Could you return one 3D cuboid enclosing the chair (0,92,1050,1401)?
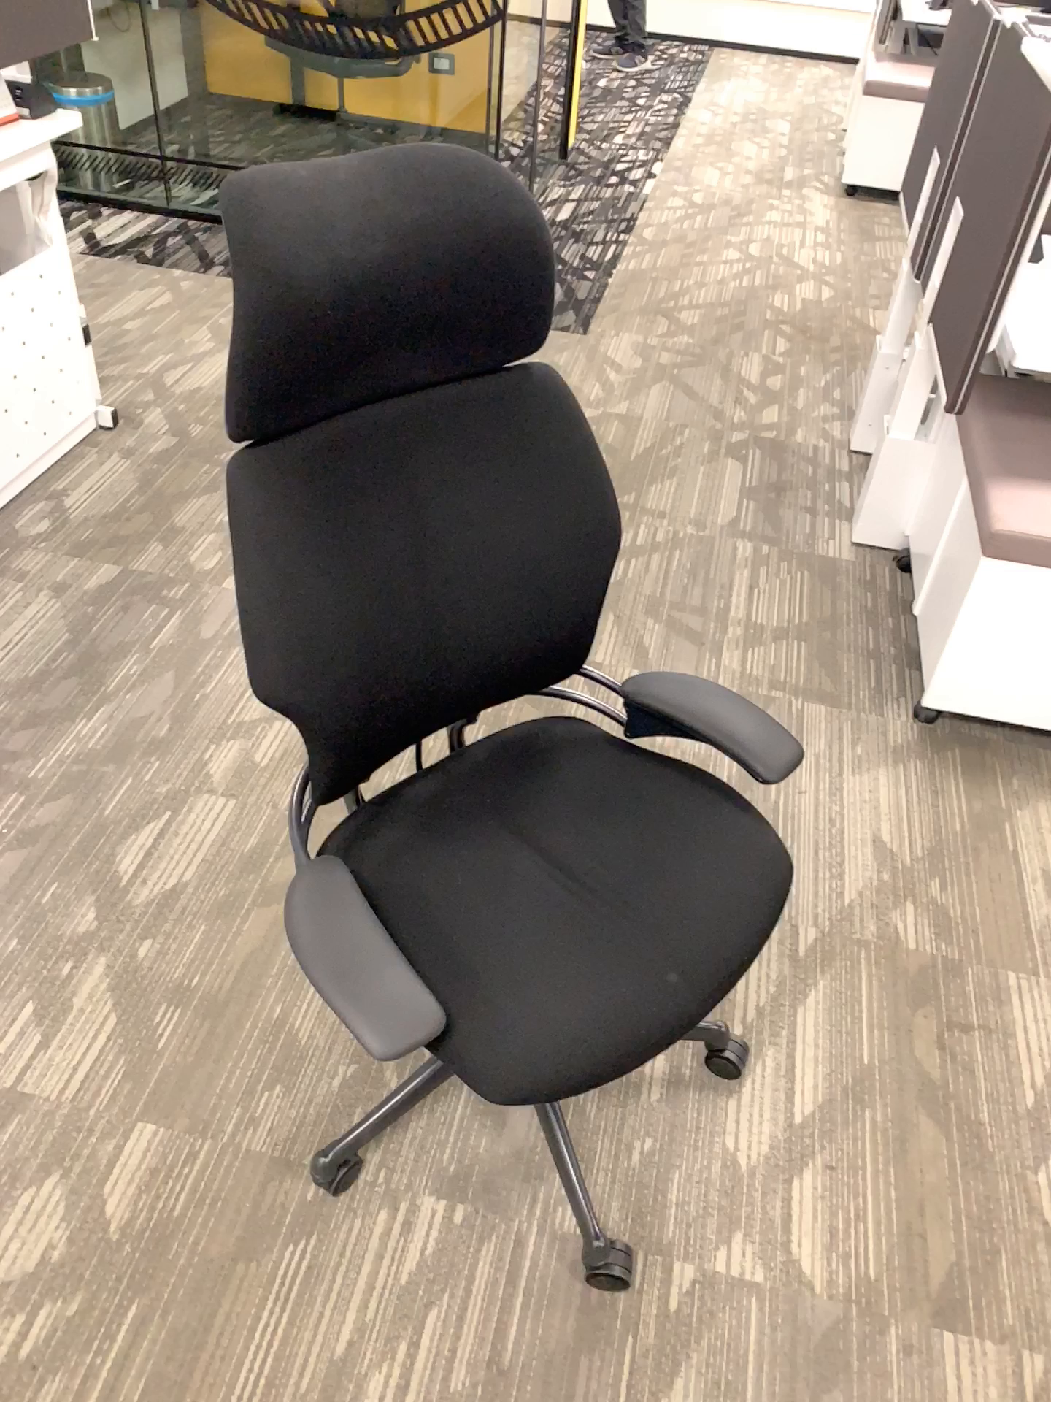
[{"bbox_3d":[0.010,0.050,1.196,0.693,1.091,0.773,-29,51,-33],"label":"chair"}]
